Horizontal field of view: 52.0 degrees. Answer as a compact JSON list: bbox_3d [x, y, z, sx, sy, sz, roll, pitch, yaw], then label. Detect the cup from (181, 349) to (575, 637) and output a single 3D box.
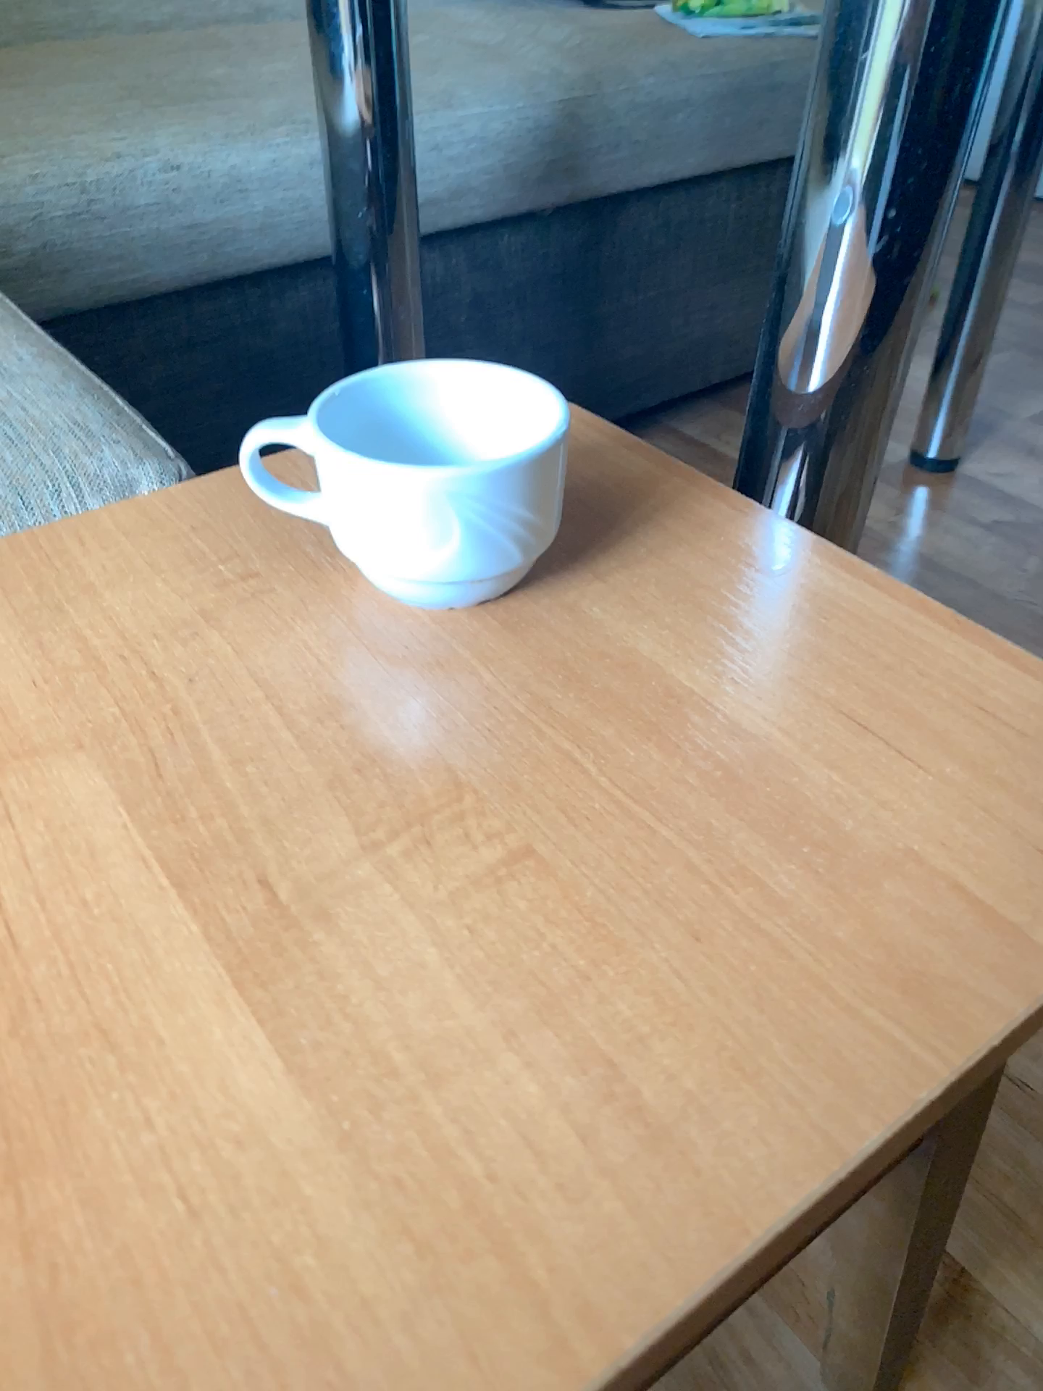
[{"bbox_3d":[-0.036,-0.063,0.319,0.100,0.050,0.080,2,39,2],"label":"cup"}]
